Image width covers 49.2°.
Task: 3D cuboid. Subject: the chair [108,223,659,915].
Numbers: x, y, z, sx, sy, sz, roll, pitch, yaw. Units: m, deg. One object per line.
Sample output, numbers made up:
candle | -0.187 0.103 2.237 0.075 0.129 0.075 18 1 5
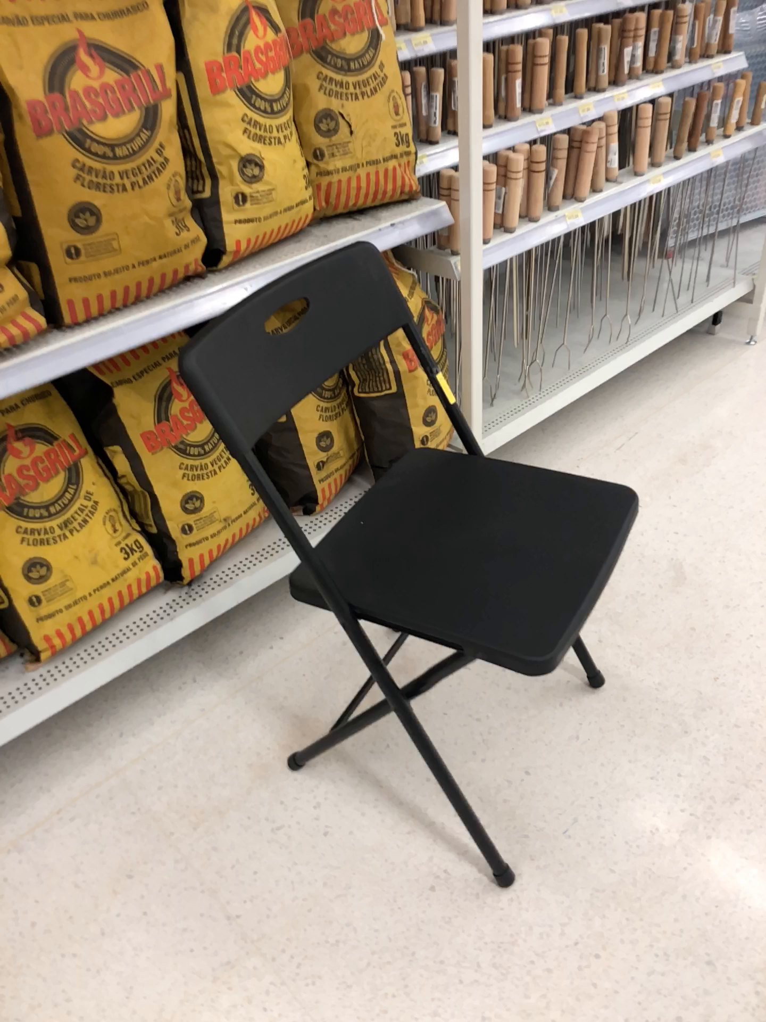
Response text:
chair | 0.047 0.057 1.143 0.451 0.715 0.463 15 40 26
